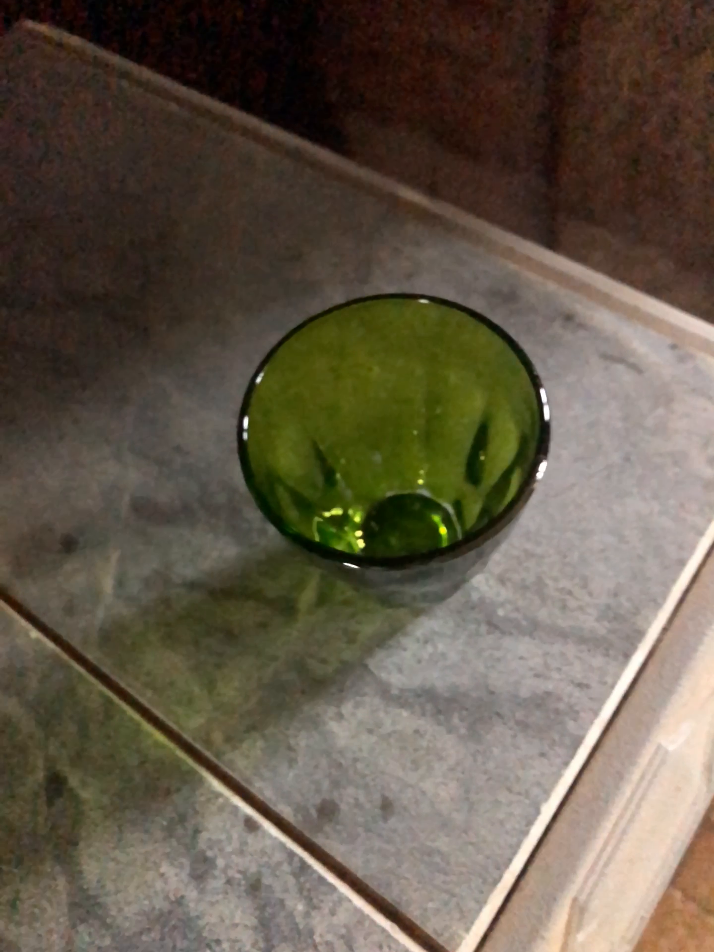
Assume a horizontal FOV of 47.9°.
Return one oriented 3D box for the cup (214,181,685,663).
[{"bbox_3d":[0.026,-0.012,0.226,0.080,0.080,0.080,-3,65,6],"label":"cup"}]
